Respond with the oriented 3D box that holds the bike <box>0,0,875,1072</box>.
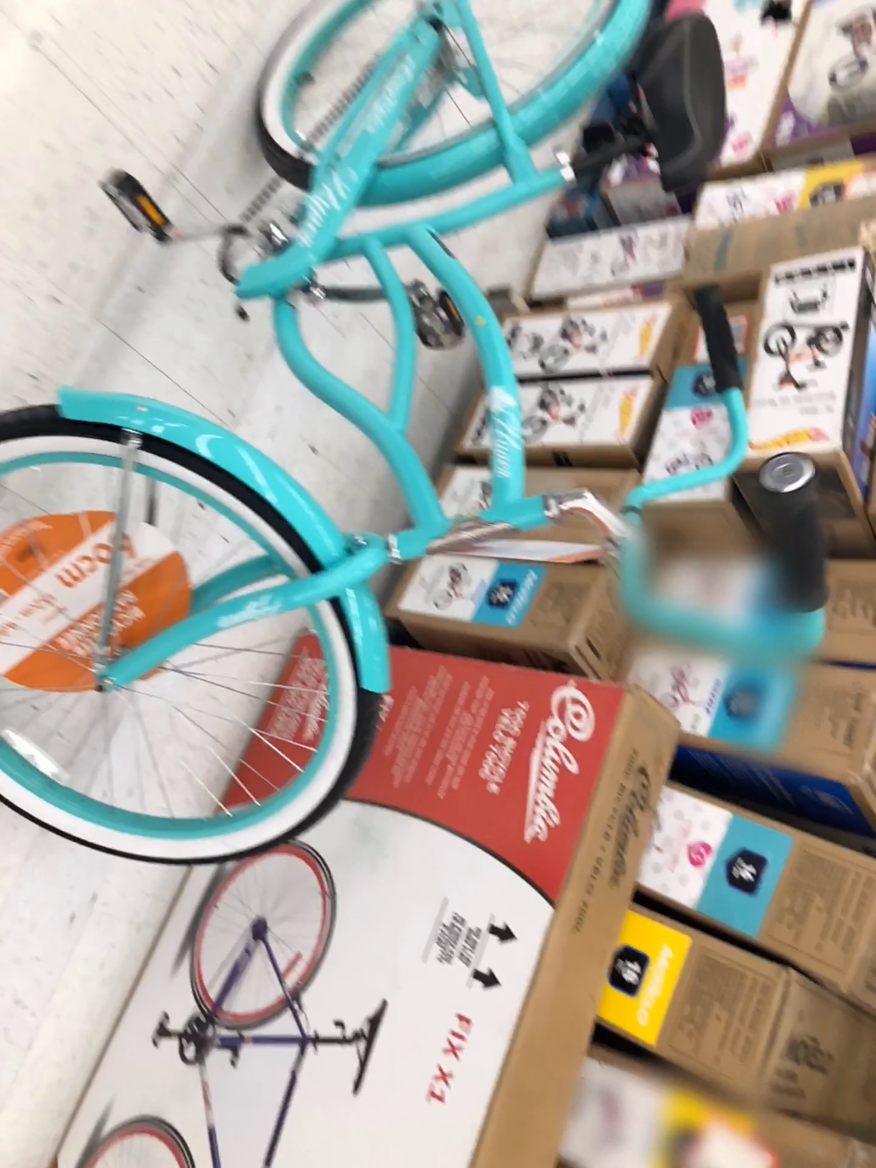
[{"bbox_3d":[0.127,-0.404,1.313,0.856,1.153,1.581,29,70,-50],"label":"bike"}]
